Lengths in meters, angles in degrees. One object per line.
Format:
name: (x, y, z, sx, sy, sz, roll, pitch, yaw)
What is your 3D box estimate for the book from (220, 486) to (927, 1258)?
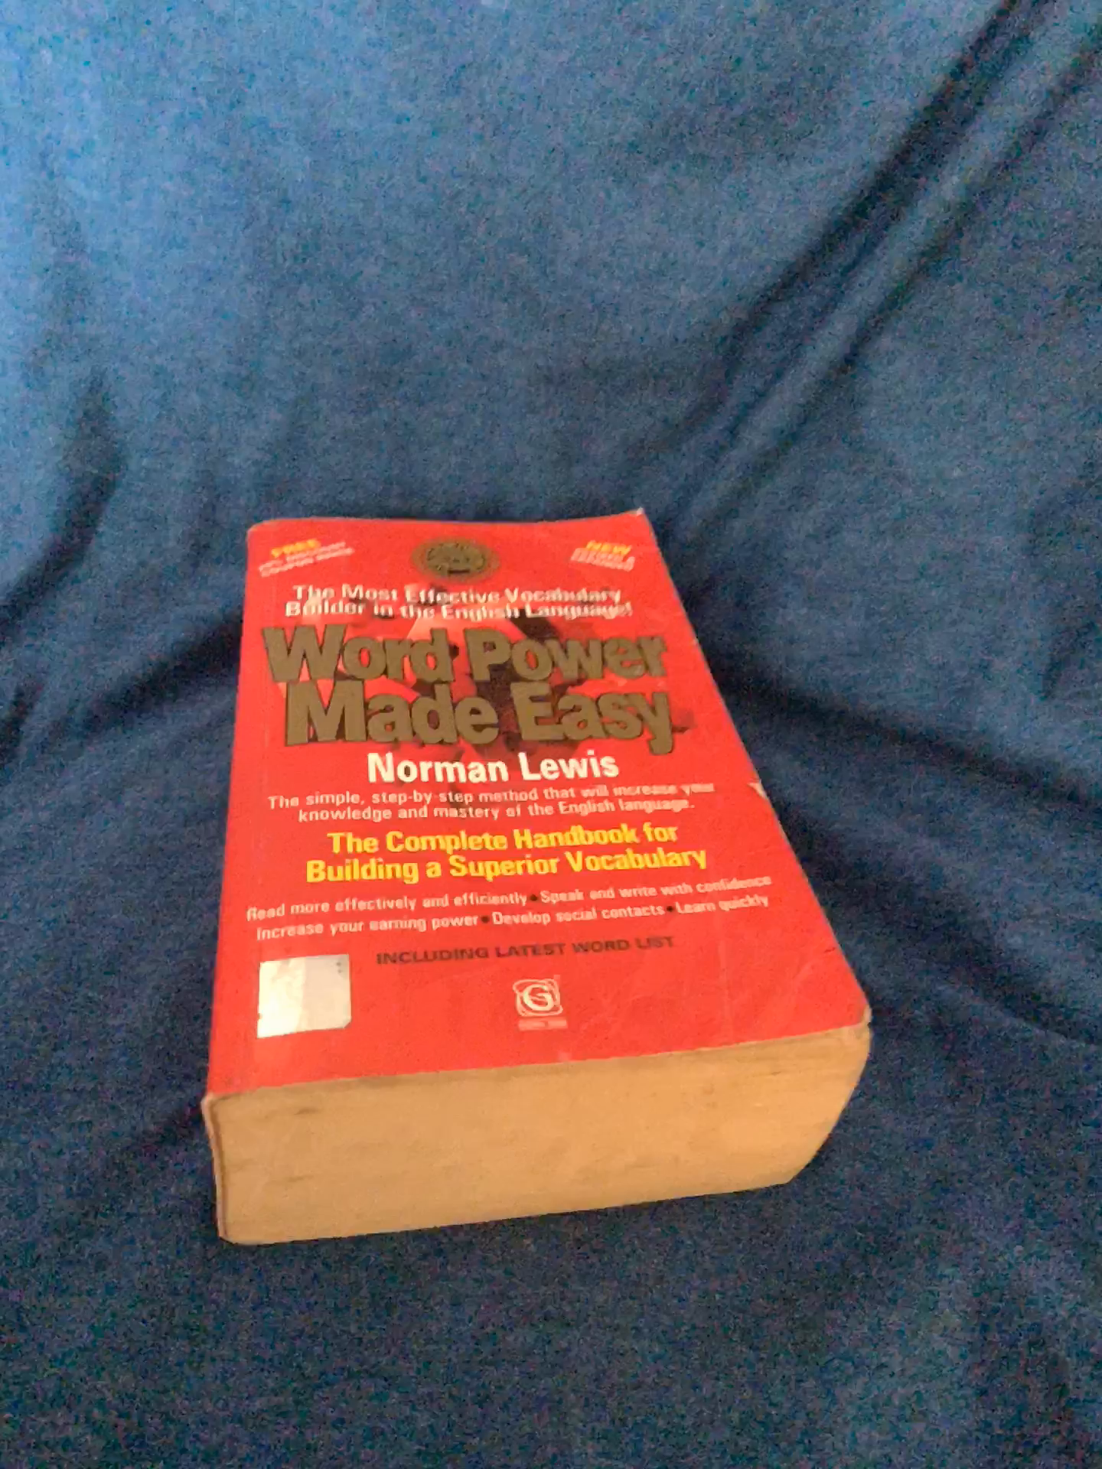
book: (-0.013, 0.012, 0.275, 0.120, 0.050, 0.191, -1, 41, -13)
